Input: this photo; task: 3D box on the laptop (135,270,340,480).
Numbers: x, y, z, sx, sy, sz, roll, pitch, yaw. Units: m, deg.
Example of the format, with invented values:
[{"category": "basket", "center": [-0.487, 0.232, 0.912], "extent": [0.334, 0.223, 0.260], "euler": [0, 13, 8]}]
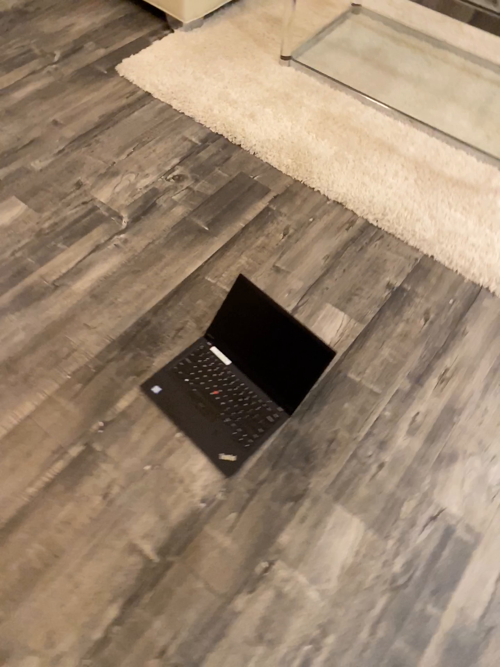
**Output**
[{"category": "laptop", "center": [-0.031, 0.089, 1.230], "extent": [0.319, 0.149, 0.356], "euler": [40, 66, 19]}]
